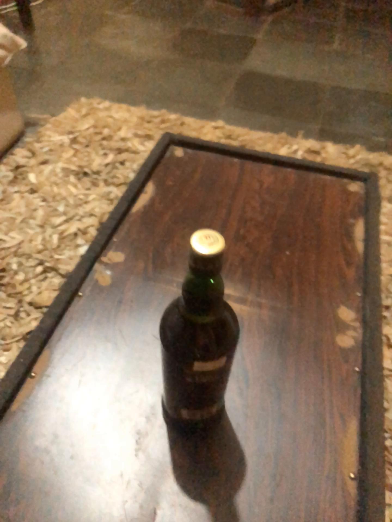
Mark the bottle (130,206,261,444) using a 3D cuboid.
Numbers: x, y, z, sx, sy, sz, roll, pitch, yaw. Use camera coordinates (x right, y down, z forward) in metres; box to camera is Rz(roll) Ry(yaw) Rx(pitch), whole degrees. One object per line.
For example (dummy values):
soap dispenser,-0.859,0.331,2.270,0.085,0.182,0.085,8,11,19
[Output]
bottle,-0.008,0.092,0.479,0.100,0.308,0.101,2,47,-2
